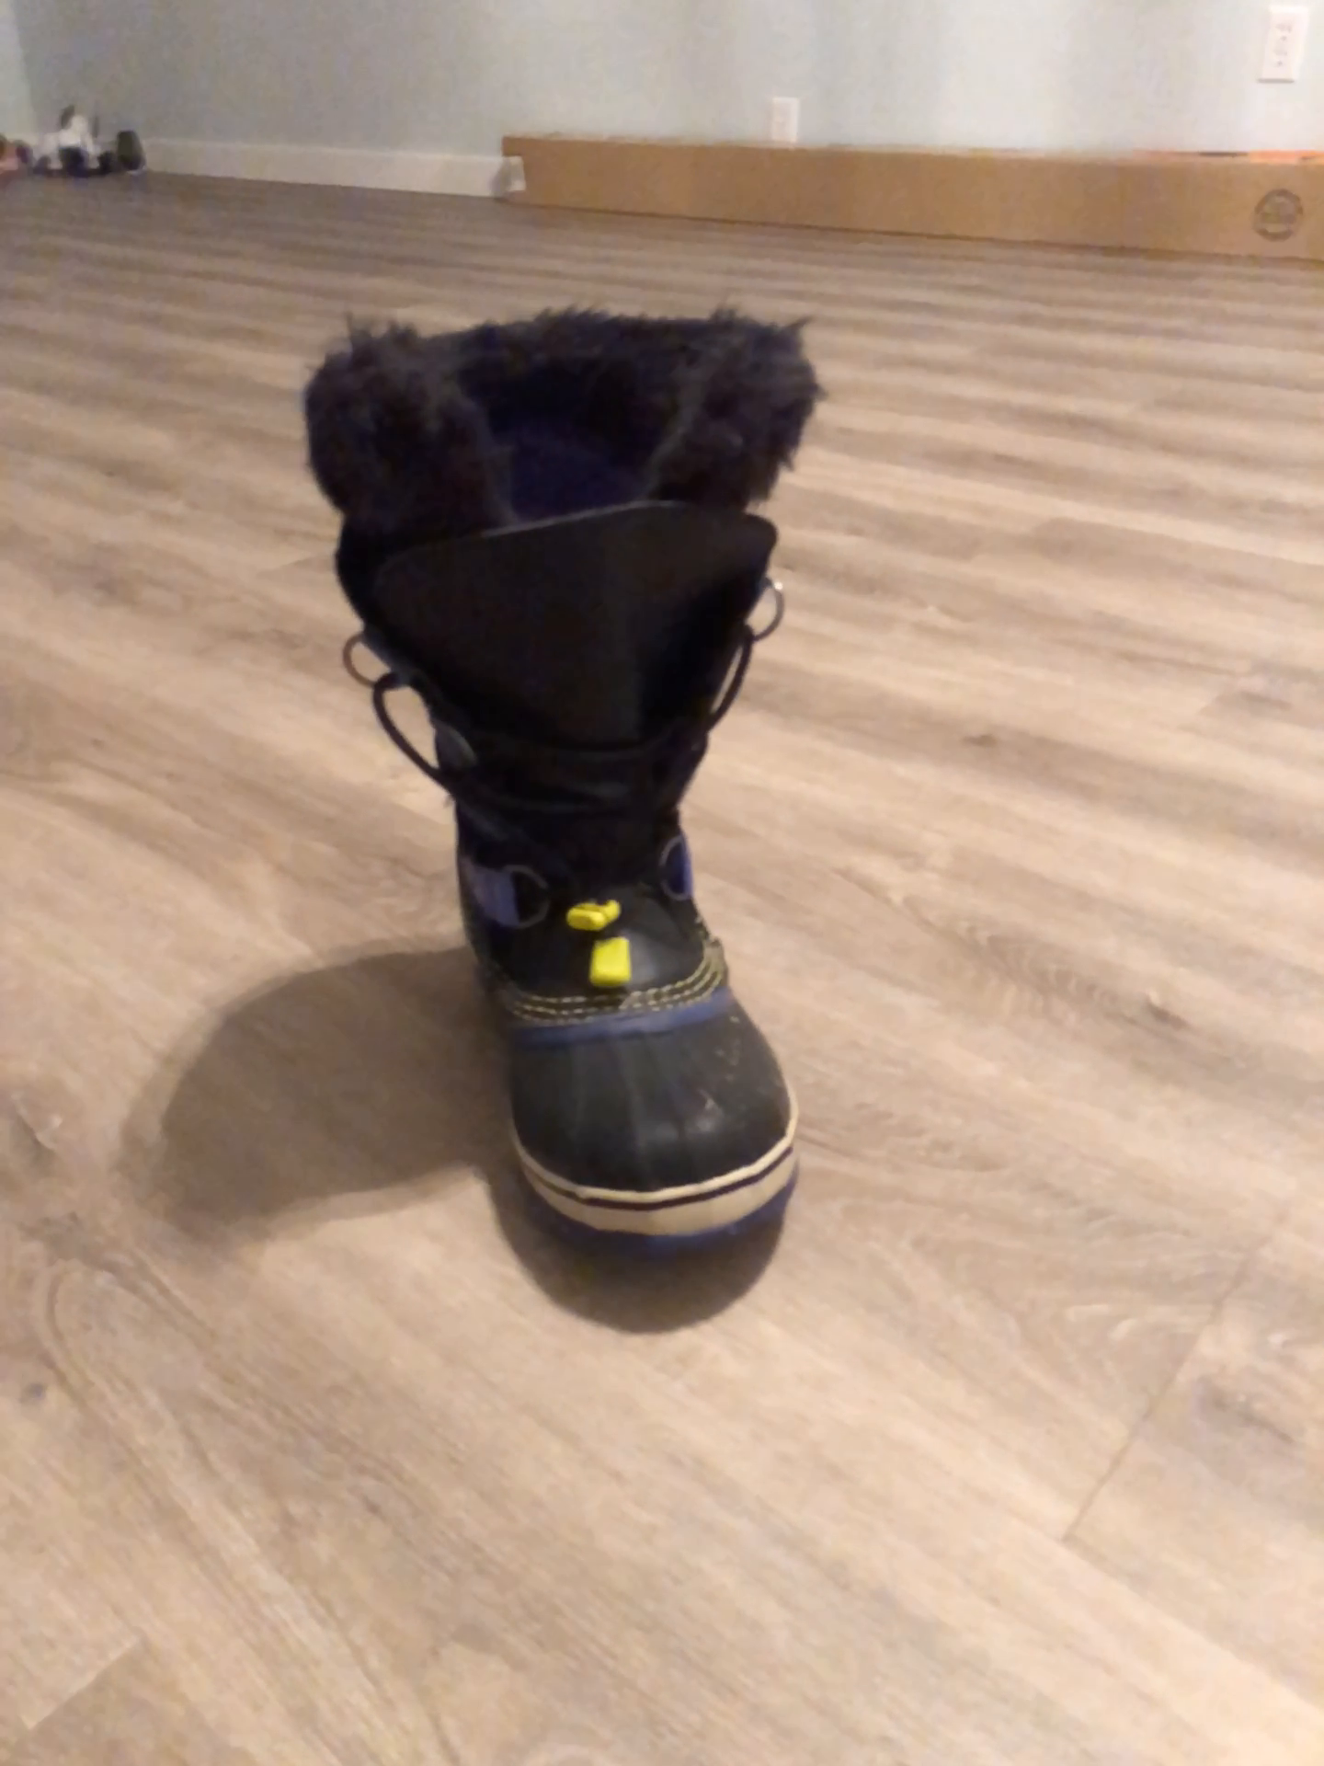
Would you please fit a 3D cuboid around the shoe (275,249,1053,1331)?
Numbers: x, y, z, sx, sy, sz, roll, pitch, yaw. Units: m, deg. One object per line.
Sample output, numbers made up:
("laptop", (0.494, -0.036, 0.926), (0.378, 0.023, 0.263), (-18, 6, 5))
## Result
("shoe", (-0.019, -0.052, 0.492), (0.170, 0.269, 0.241), (-9, 30, -13))
